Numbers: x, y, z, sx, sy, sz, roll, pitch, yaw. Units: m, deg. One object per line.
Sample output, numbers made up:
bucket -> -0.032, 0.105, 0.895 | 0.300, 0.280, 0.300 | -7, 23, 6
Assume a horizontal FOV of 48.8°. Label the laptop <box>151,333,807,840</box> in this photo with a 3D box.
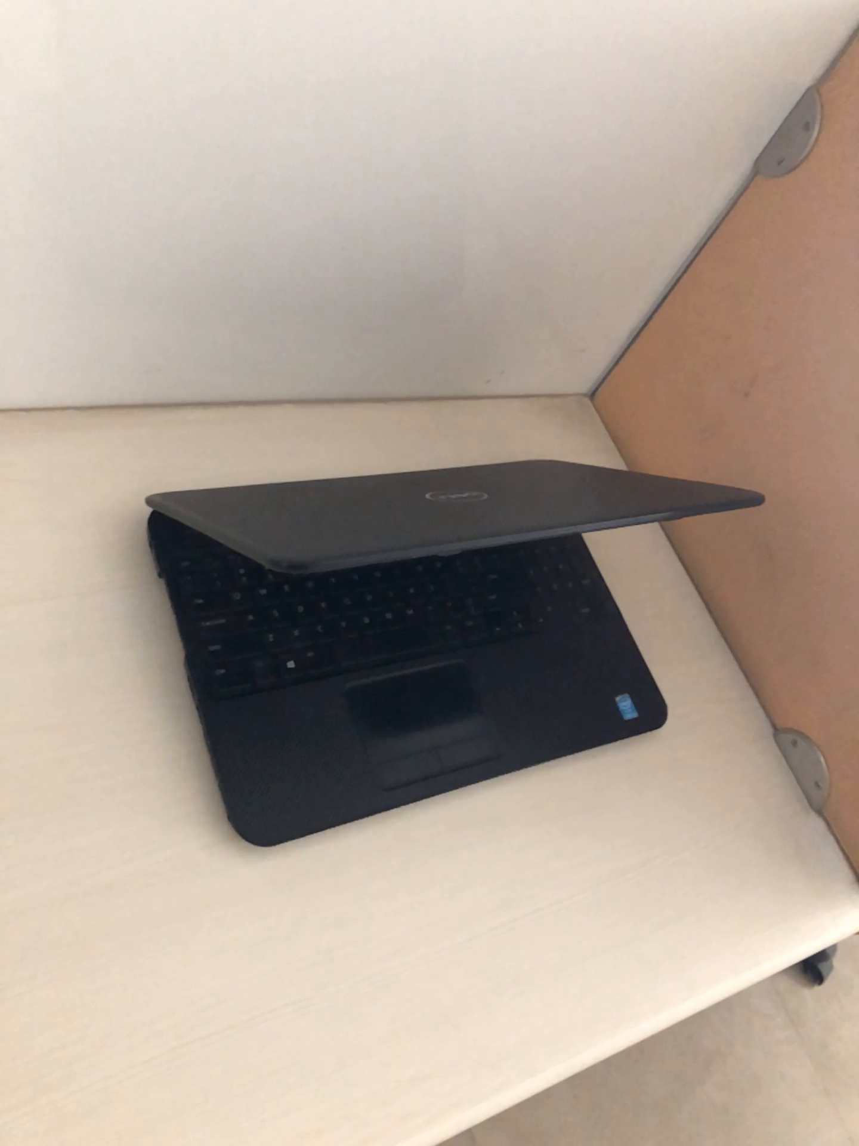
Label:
laptop -> 0.030, -0.010, 0.670 | 0.366, 0.177, 0.248 | -9, 63, -33
